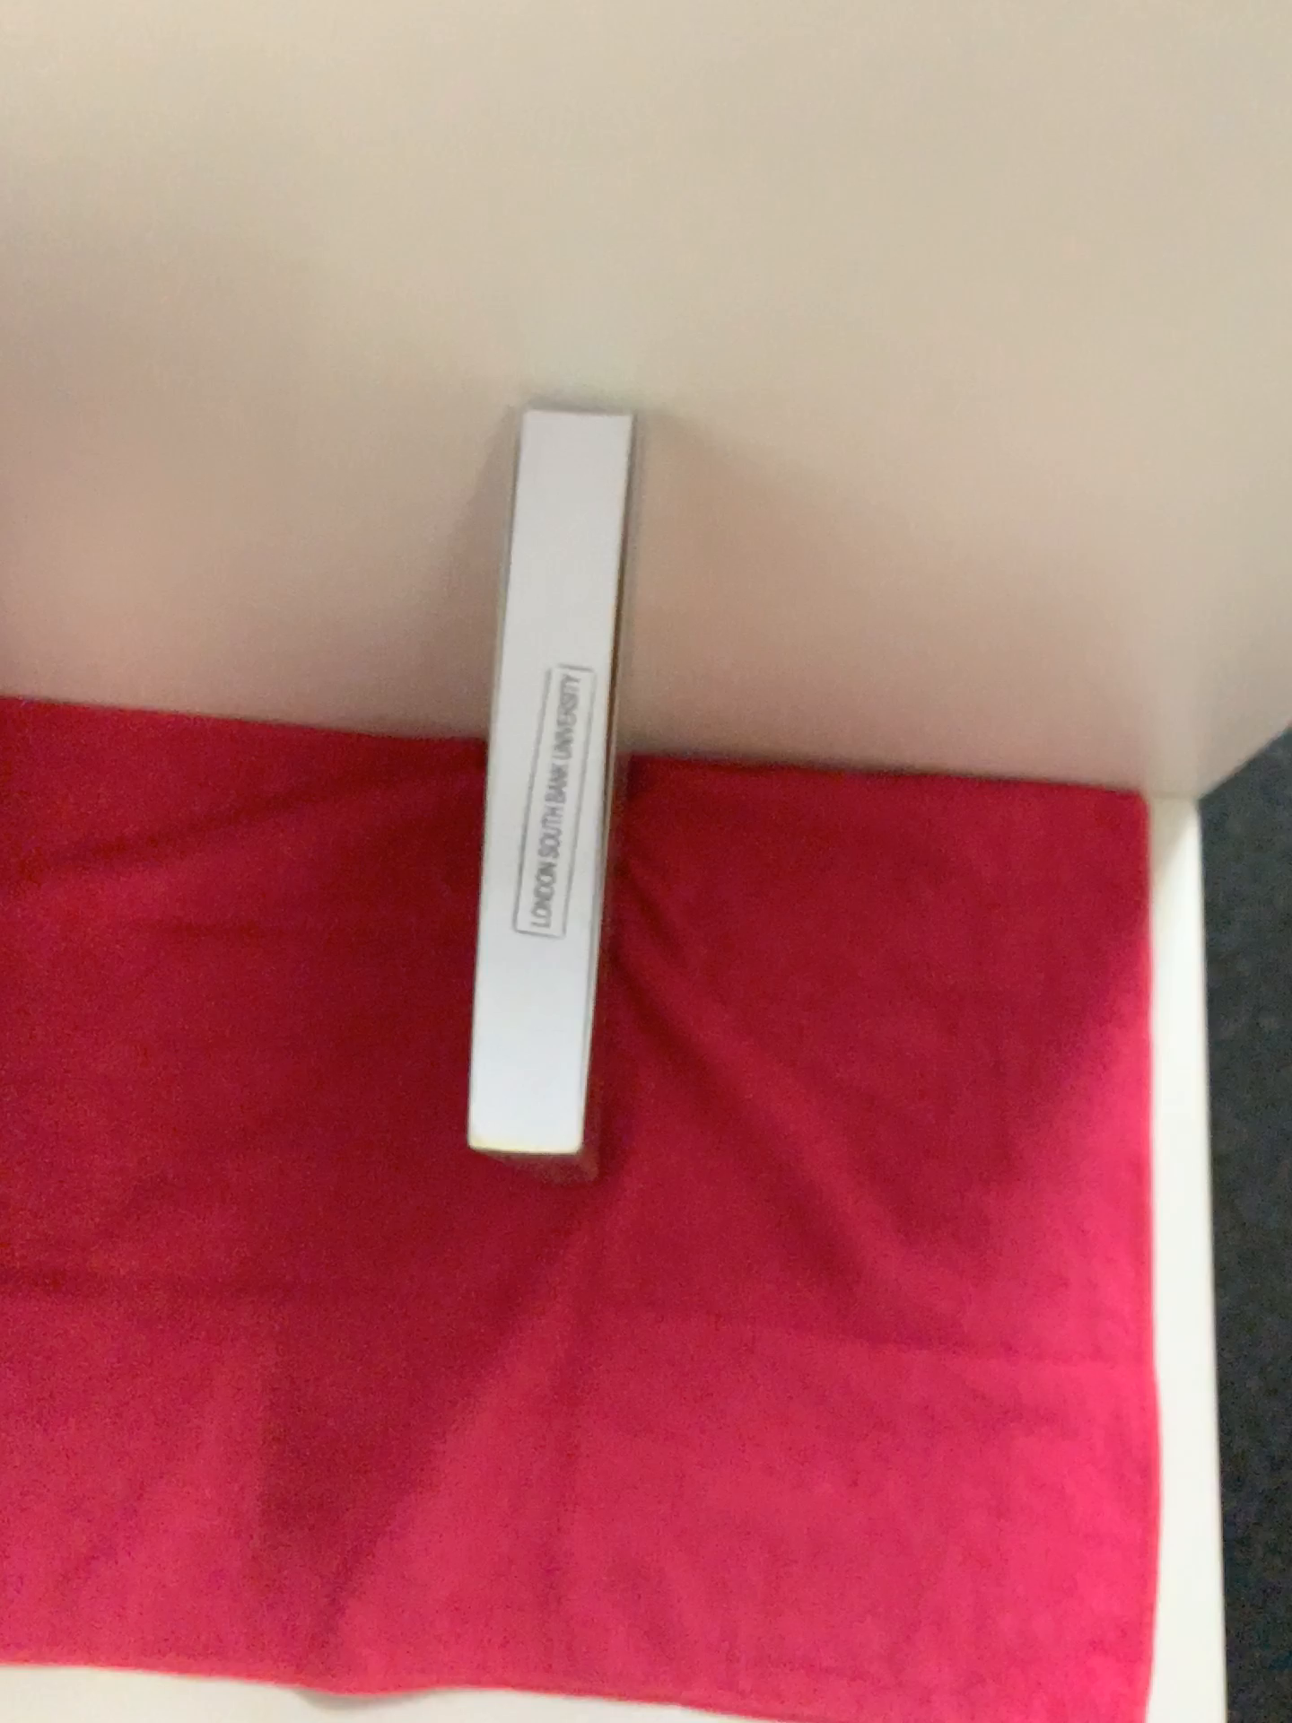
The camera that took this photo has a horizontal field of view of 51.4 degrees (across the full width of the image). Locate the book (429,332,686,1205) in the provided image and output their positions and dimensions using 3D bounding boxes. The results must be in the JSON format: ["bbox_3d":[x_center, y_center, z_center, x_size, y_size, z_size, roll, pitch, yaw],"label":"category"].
[{"bbox_3d":[-0.019,0.002,0.408,0.040,0.249,0.190,4,74,0],"label":"book"}]
